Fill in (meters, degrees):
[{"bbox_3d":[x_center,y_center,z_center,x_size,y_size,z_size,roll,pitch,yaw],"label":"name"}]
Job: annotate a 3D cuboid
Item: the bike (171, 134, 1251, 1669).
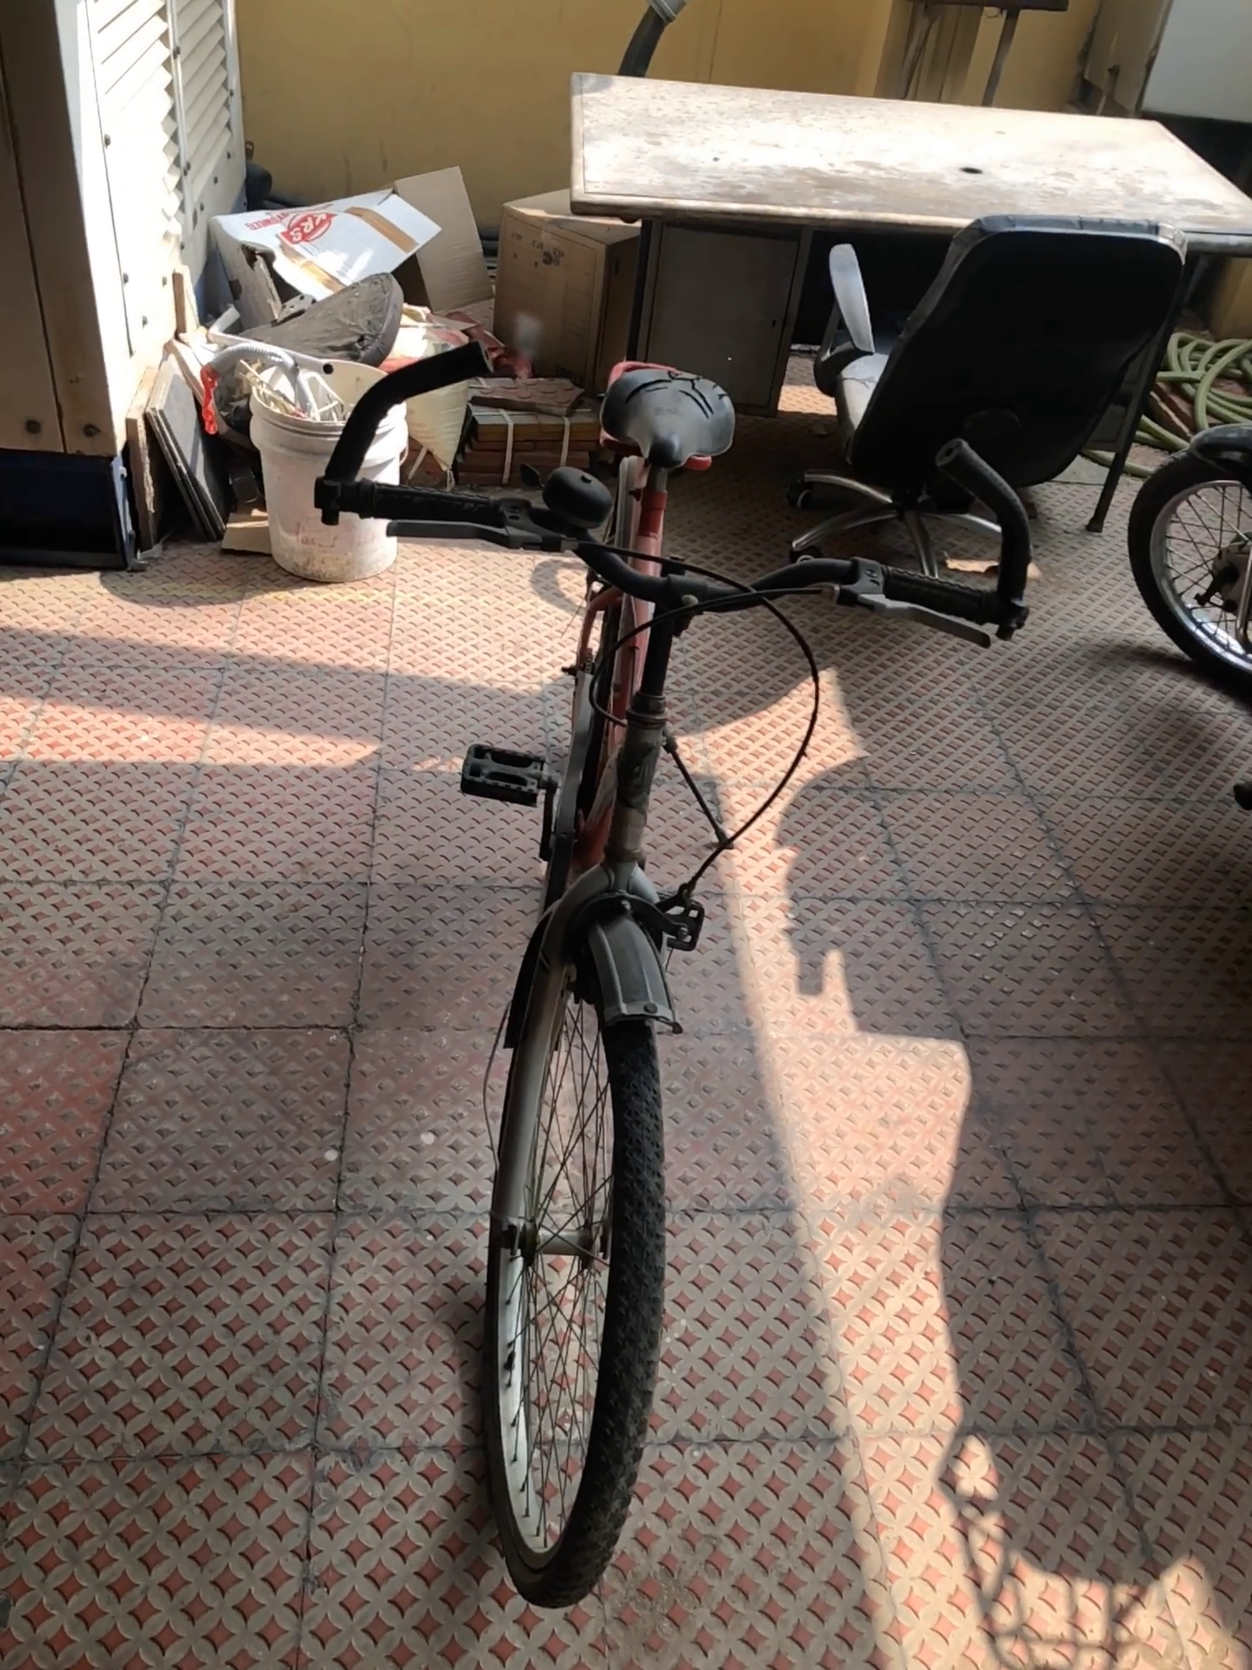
[{"bbox_3d":[0.029,-0.079,1.585,0.575,0.963,1.620,6,38,-3],"label":"bike"}]
